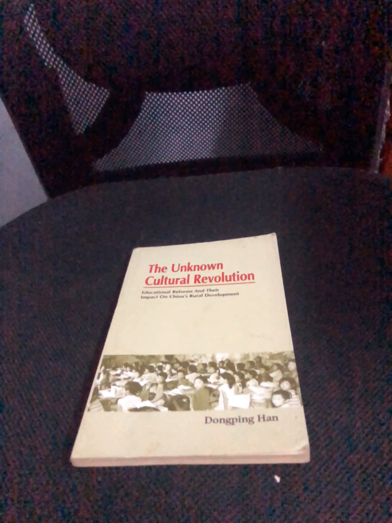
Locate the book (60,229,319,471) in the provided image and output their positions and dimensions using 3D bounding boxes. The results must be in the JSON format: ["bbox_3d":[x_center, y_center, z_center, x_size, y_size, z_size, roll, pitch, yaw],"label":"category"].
[{"bbox_3d":[0.001,0.051,0.341,0.154,0.017,0.215,-4,40,8],"label":"book"}]
